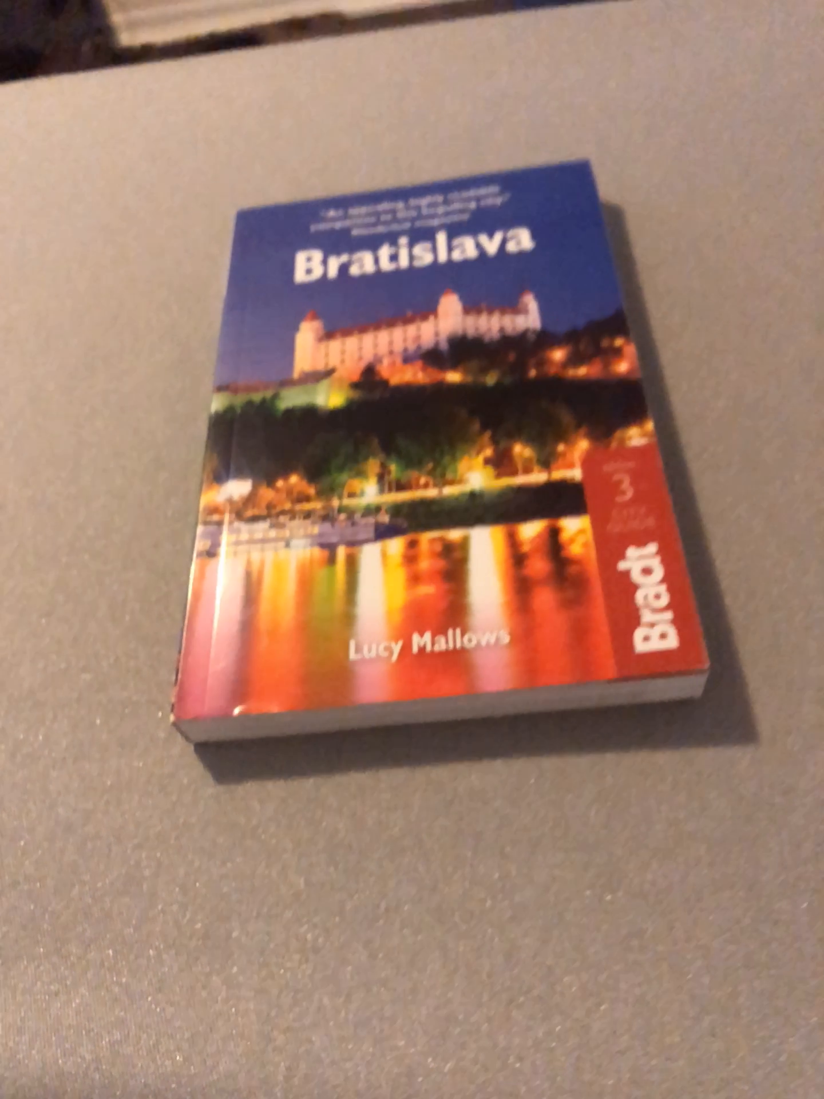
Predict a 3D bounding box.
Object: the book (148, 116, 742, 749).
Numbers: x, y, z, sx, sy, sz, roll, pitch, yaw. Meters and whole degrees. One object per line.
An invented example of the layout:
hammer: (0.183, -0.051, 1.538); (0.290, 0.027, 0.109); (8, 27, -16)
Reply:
book: (0.005, -0.049, 0.283); (0.140, 0.020, 0.210); (-7, 56, 9)
